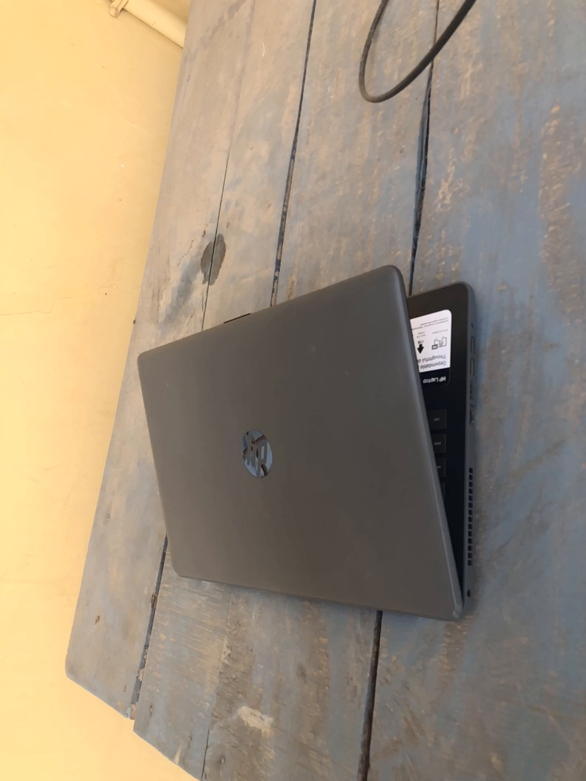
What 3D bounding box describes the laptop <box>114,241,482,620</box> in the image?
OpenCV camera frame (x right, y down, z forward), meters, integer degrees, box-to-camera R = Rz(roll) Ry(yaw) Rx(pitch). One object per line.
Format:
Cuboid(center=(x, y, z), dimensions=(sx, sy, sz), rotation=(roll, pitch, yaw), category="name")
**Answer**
Cuboid(center=(-0.018, 0.049, 0.573), dimensions=(0.362, 0.096, 0.243), rotation=(-11, 69, 49), category="laptop")
